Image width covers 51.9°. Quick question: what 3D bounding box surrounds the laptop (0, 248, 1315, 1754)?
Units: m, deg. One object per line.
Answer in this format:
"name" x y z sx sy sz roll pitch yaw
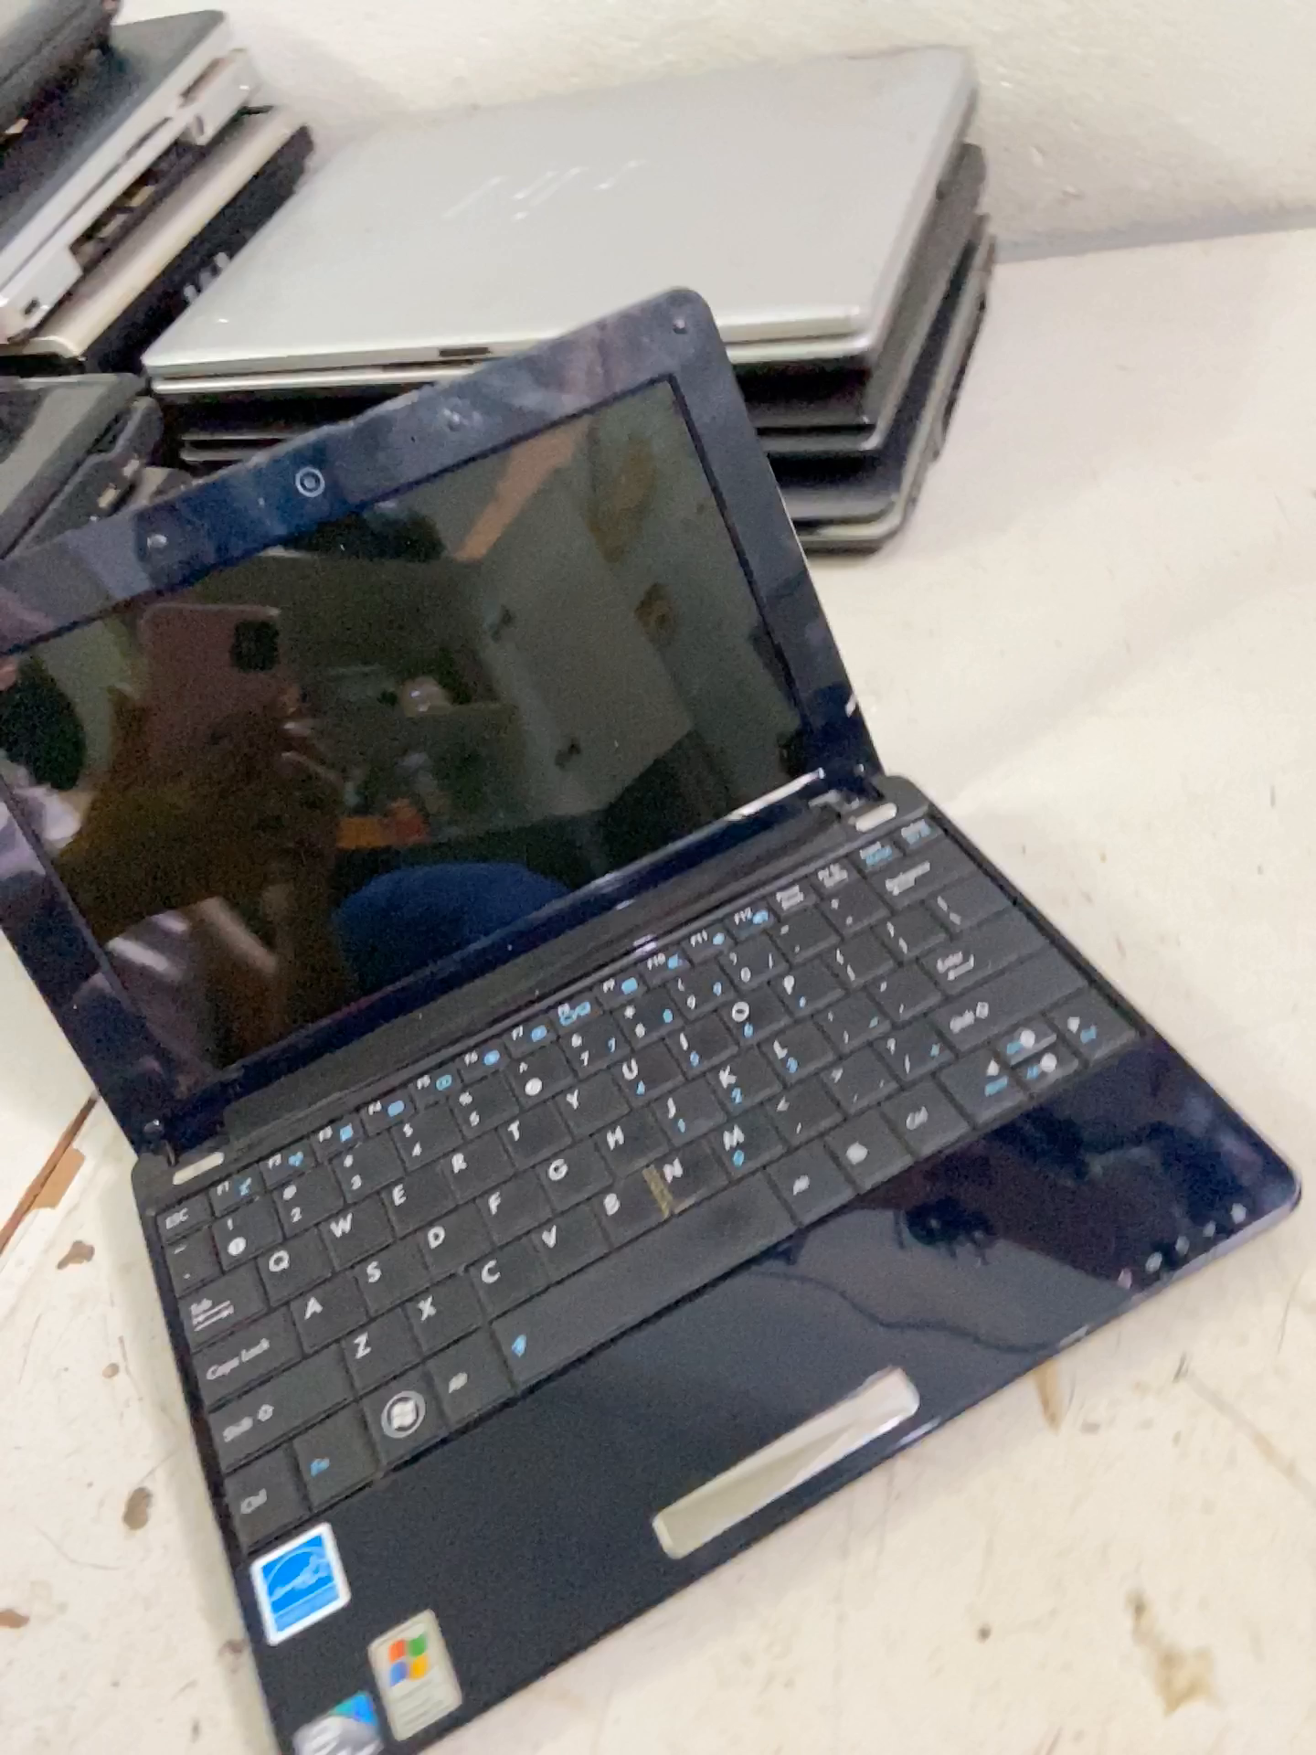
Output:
"laptop" -0.033 0.001 0.343 0.260 0.133 0.274 -27 48 -9
